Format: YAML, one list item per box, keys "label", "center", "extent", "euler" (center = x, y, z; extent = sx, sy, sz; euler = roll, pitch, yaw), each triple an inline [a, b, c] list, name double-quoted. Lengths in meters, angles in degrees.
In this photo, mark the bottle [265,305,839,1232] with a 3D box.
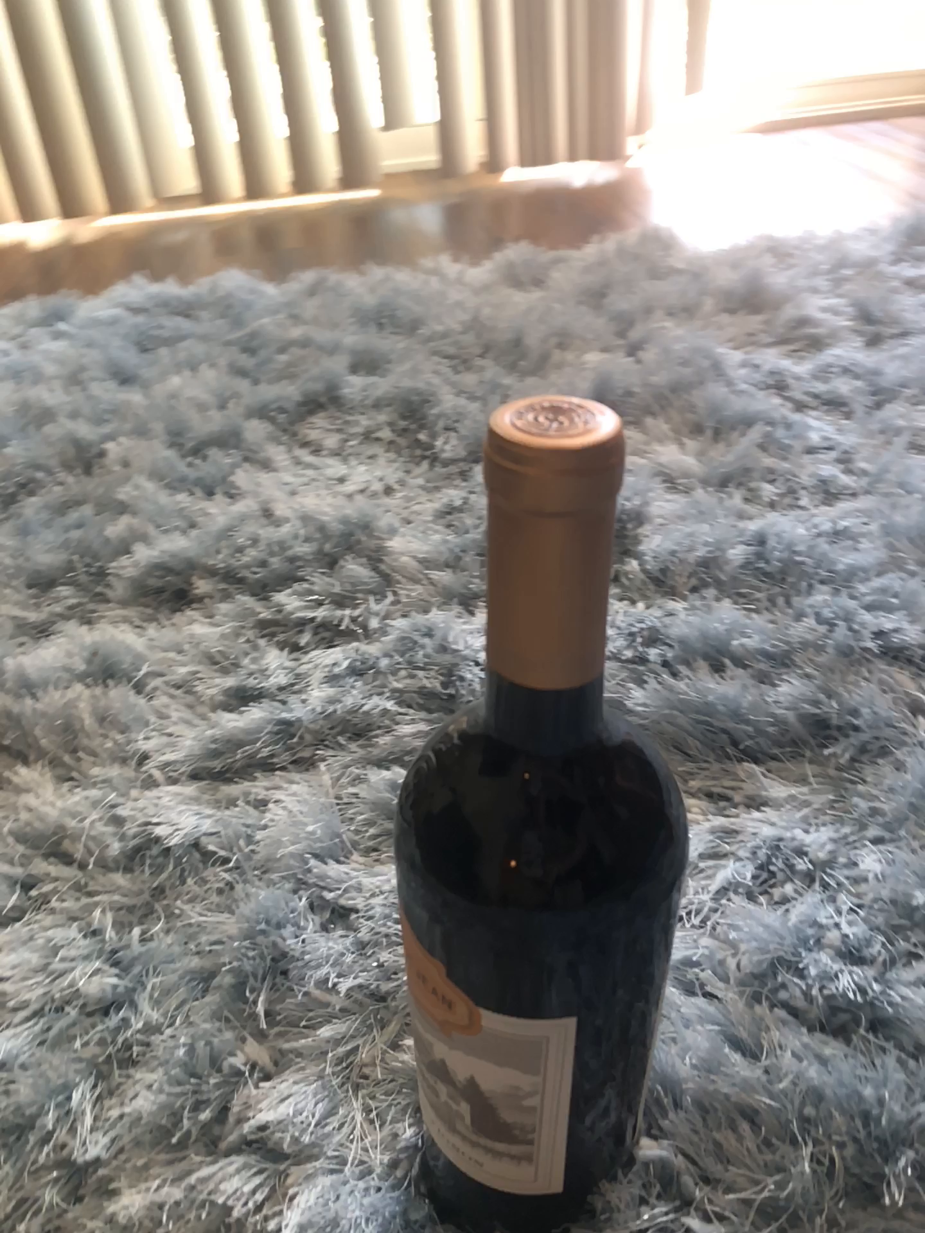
- label: "bottle"
  center: [0.022, 0.079, 0.296]
  extent: [0.090, 0.298, 0.090]
  euler: [-3, 35, 2]
